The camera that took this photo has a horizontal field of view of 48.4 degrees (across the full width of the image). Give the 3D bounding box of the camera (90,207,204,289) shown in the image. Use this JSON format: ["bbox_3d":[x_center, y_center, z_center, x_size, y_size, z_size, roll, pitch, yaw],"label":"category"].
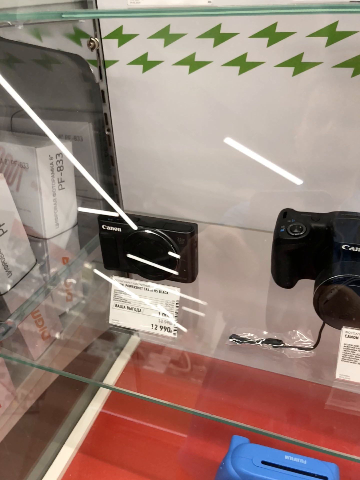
[{"bbox_3d":[-0.029,0.006,0.374,0.098,0.055,0.030,9,33,19],"label":"camera"}]
